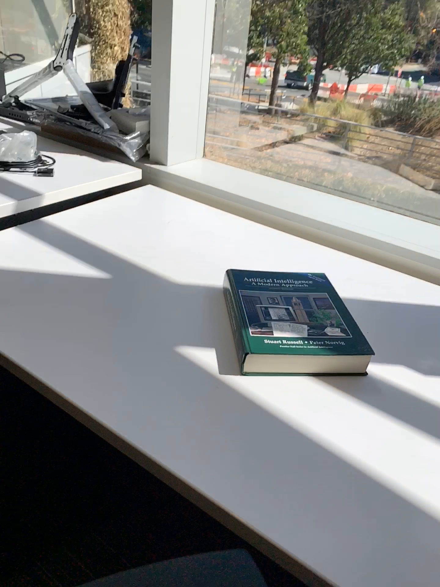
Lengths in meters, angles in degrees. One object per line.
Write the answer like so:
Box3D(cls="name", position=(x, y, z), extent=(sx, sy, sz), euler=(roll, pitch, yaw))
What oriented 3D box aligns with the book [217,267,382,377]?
Box3D(cls="book", position=(0.123, 0.041, 0.808), extent=(0.230, 0.050, 0.262), euler=(2, 32, -8))
